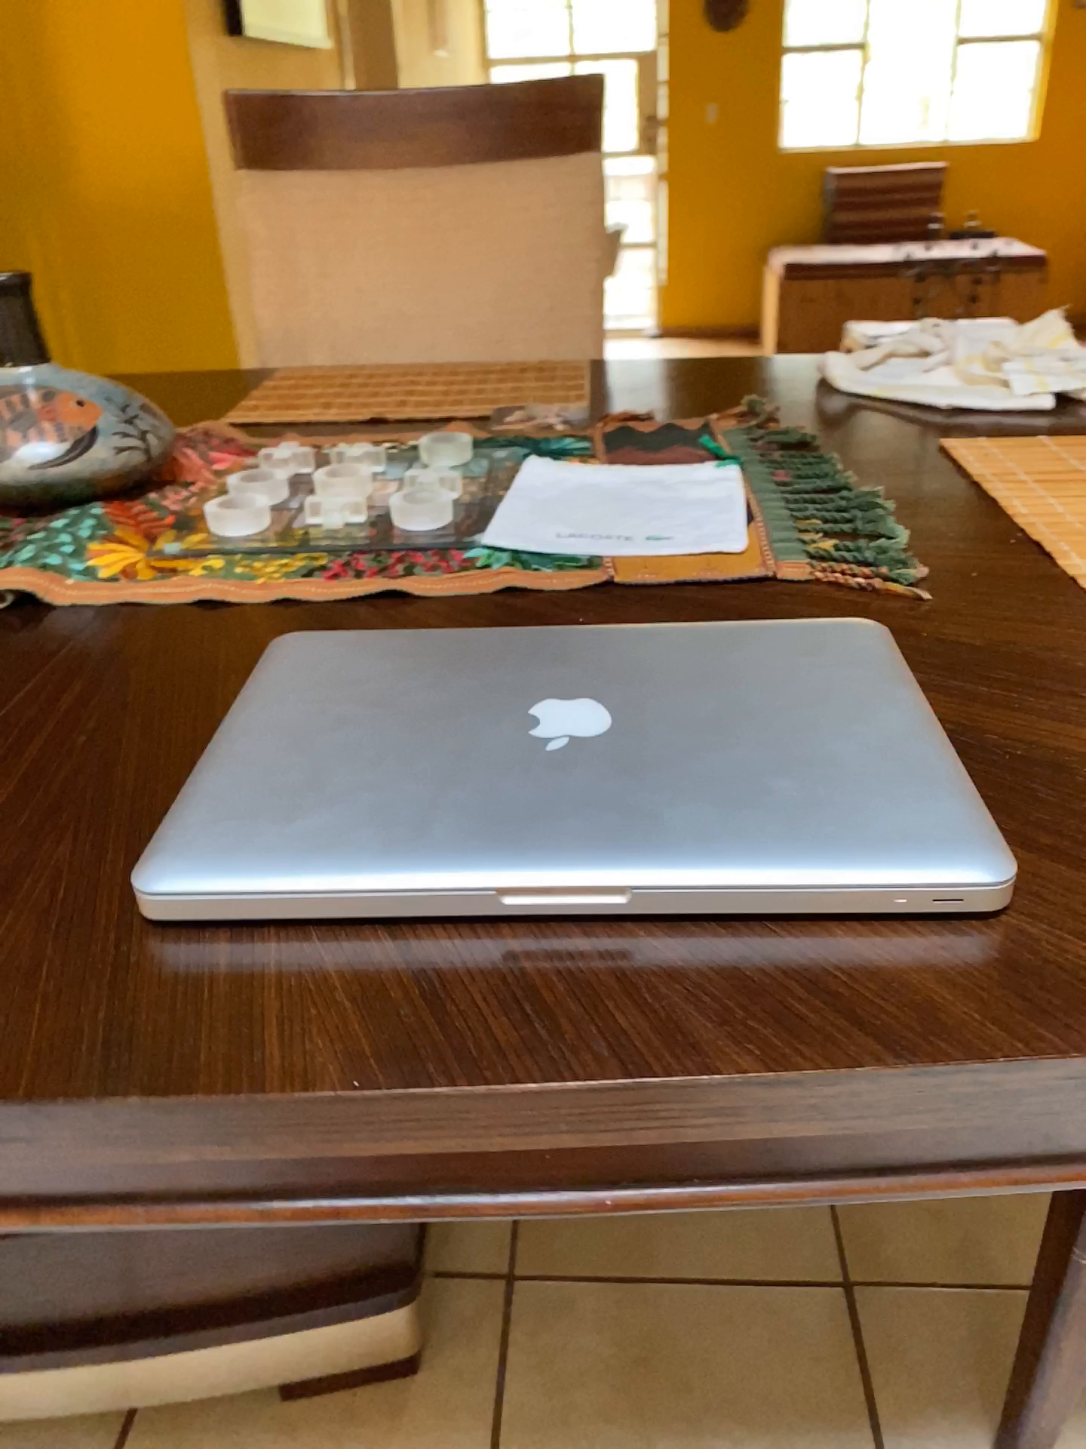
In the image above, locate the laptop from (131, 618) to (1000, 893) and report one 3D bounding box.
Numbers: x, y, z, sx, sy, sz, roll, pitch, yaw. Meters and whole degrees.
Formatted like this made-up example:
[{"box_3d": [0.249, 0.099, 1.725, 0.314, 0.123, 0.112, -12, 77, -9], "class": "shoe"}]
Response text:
[{"box_3d": [0.009, 0.003, 0.517, 0.324, 0.002, 0.233, -1, 29, 3], "class": "laptop"}]
